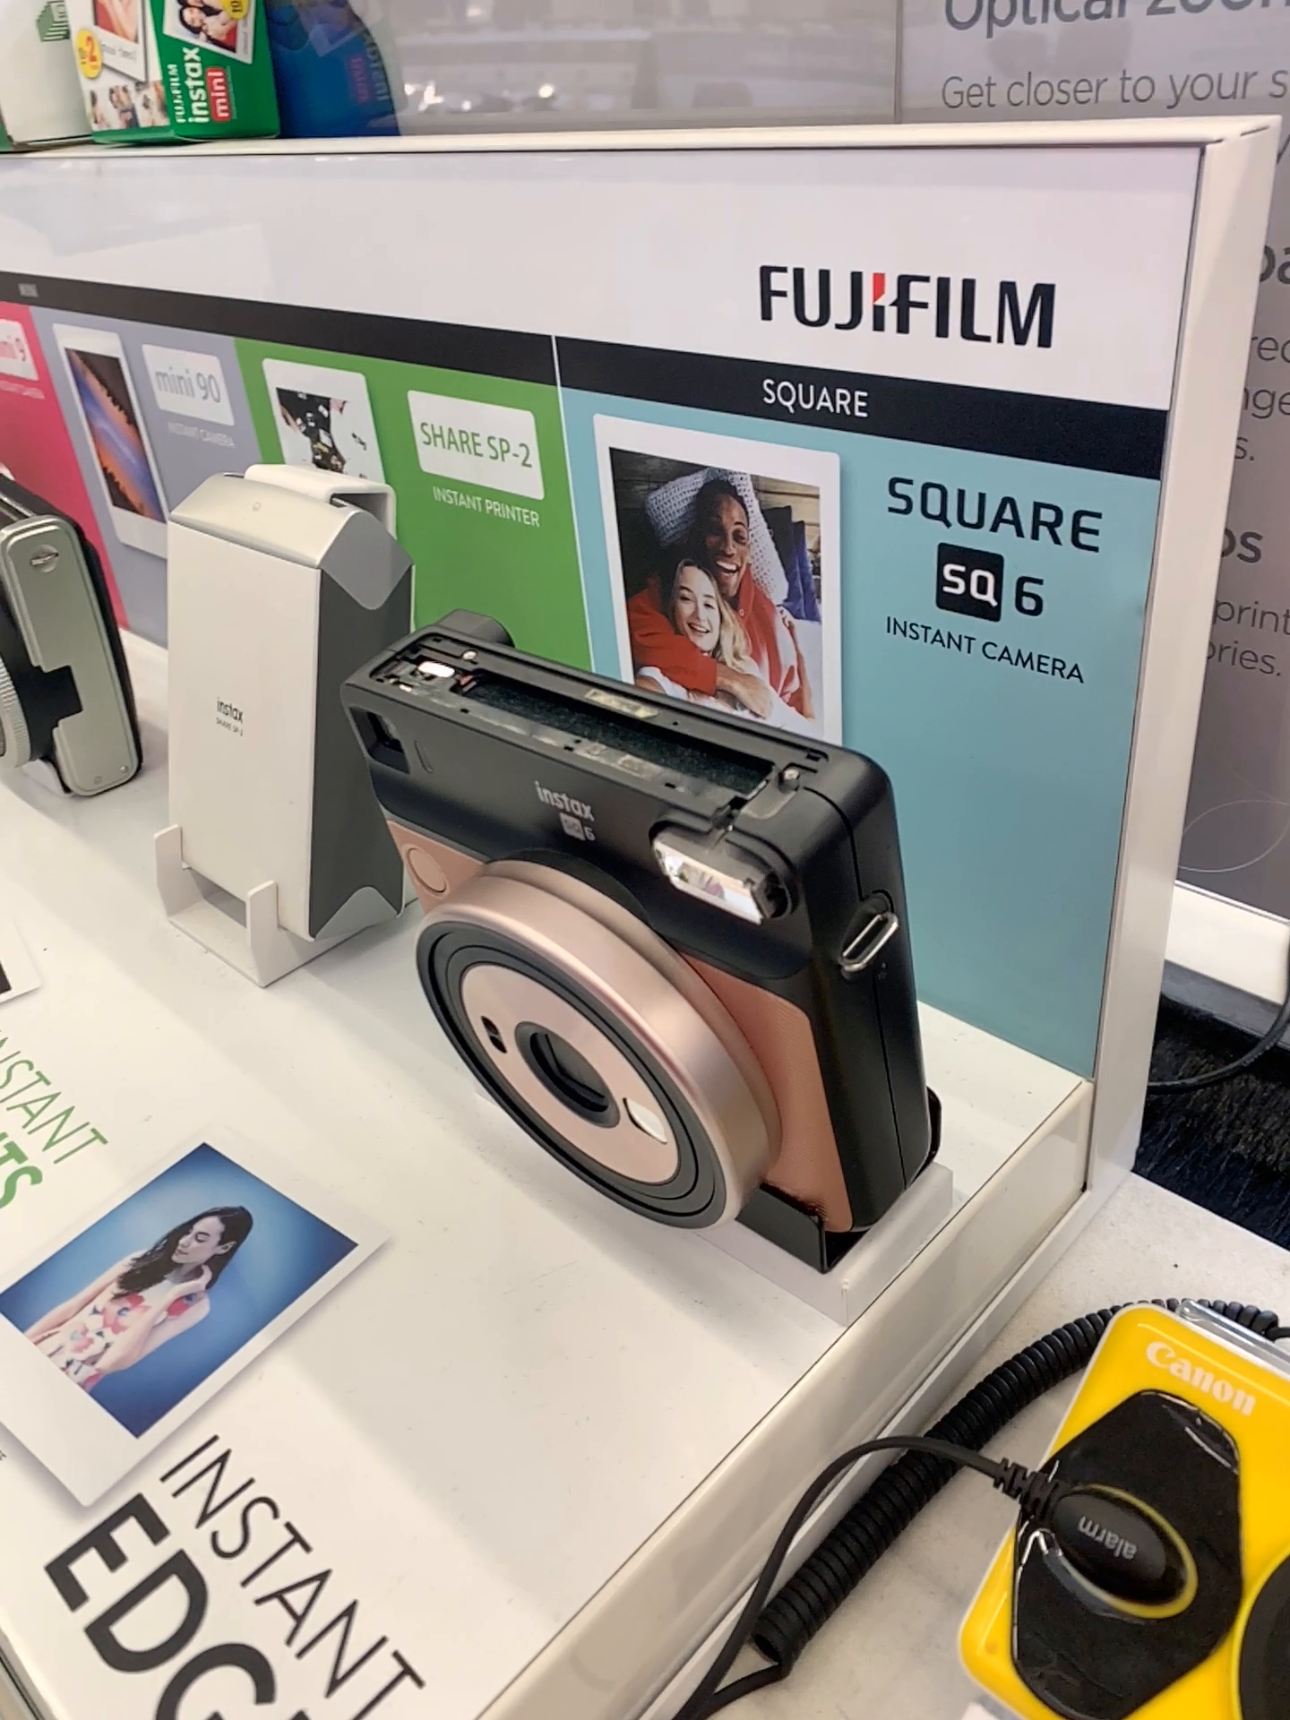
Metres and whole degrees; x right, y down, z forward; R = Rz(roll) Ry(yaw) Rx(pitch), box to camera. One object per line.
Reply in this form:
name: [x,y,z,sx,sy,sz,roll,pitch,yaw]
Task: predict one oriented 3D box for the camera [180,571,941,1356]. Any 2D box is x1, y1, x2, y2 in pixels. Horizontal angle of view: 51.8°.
camera: [-0.014,0.017,0.281,0.131,0.119,0.060,22,52,36]
